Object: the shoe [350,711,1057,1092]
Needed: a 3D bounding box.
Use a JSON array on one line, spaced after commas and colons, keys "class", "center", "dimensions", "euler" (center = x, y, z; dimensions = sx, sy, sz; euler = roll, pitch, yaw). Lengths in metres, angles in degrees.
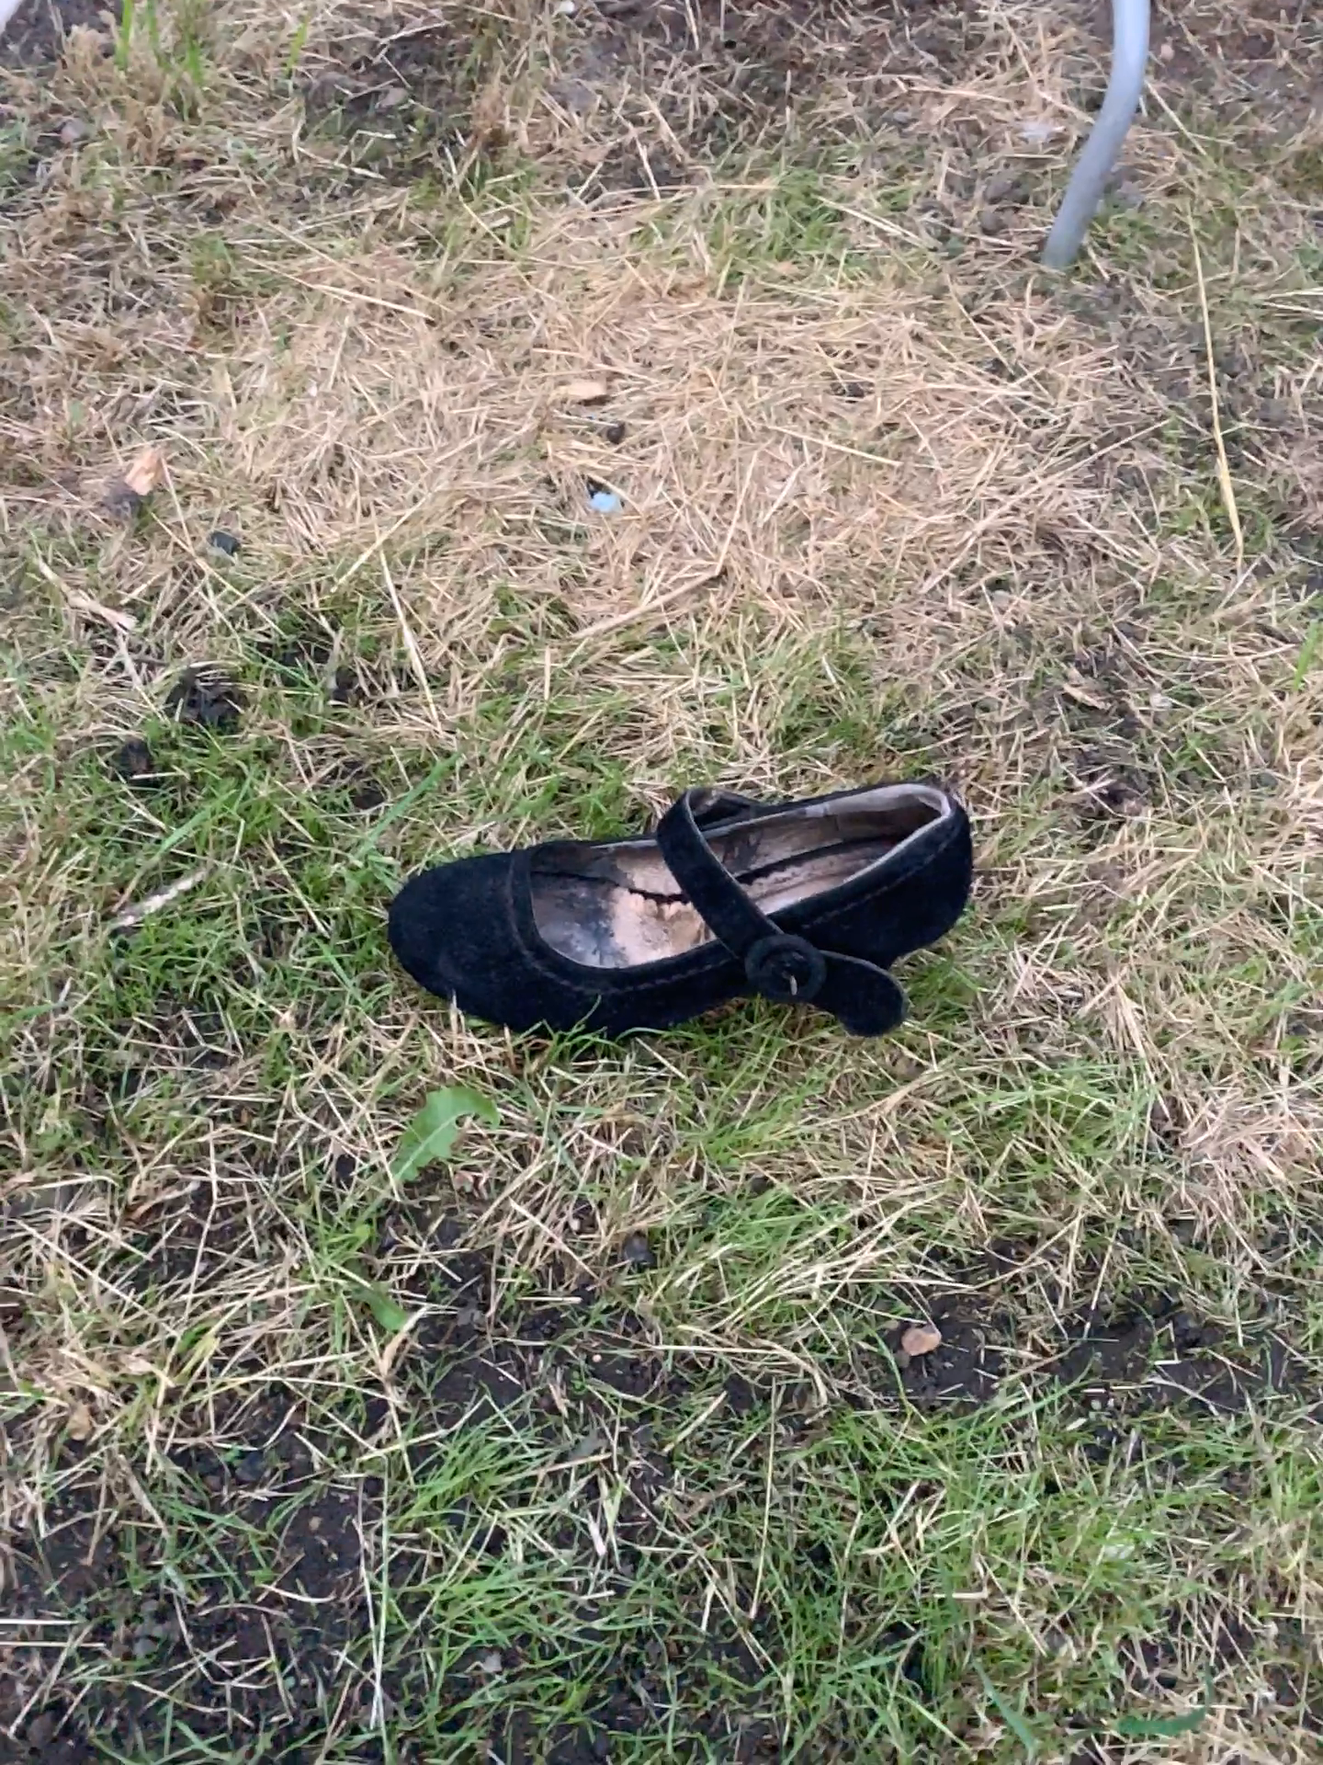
[{"class": "shoe", "center": [0.009, 0.008, 0.544], "dimensions": [0.250, 0.109, 0.111], "euler": [-1, 61, -7]}]
